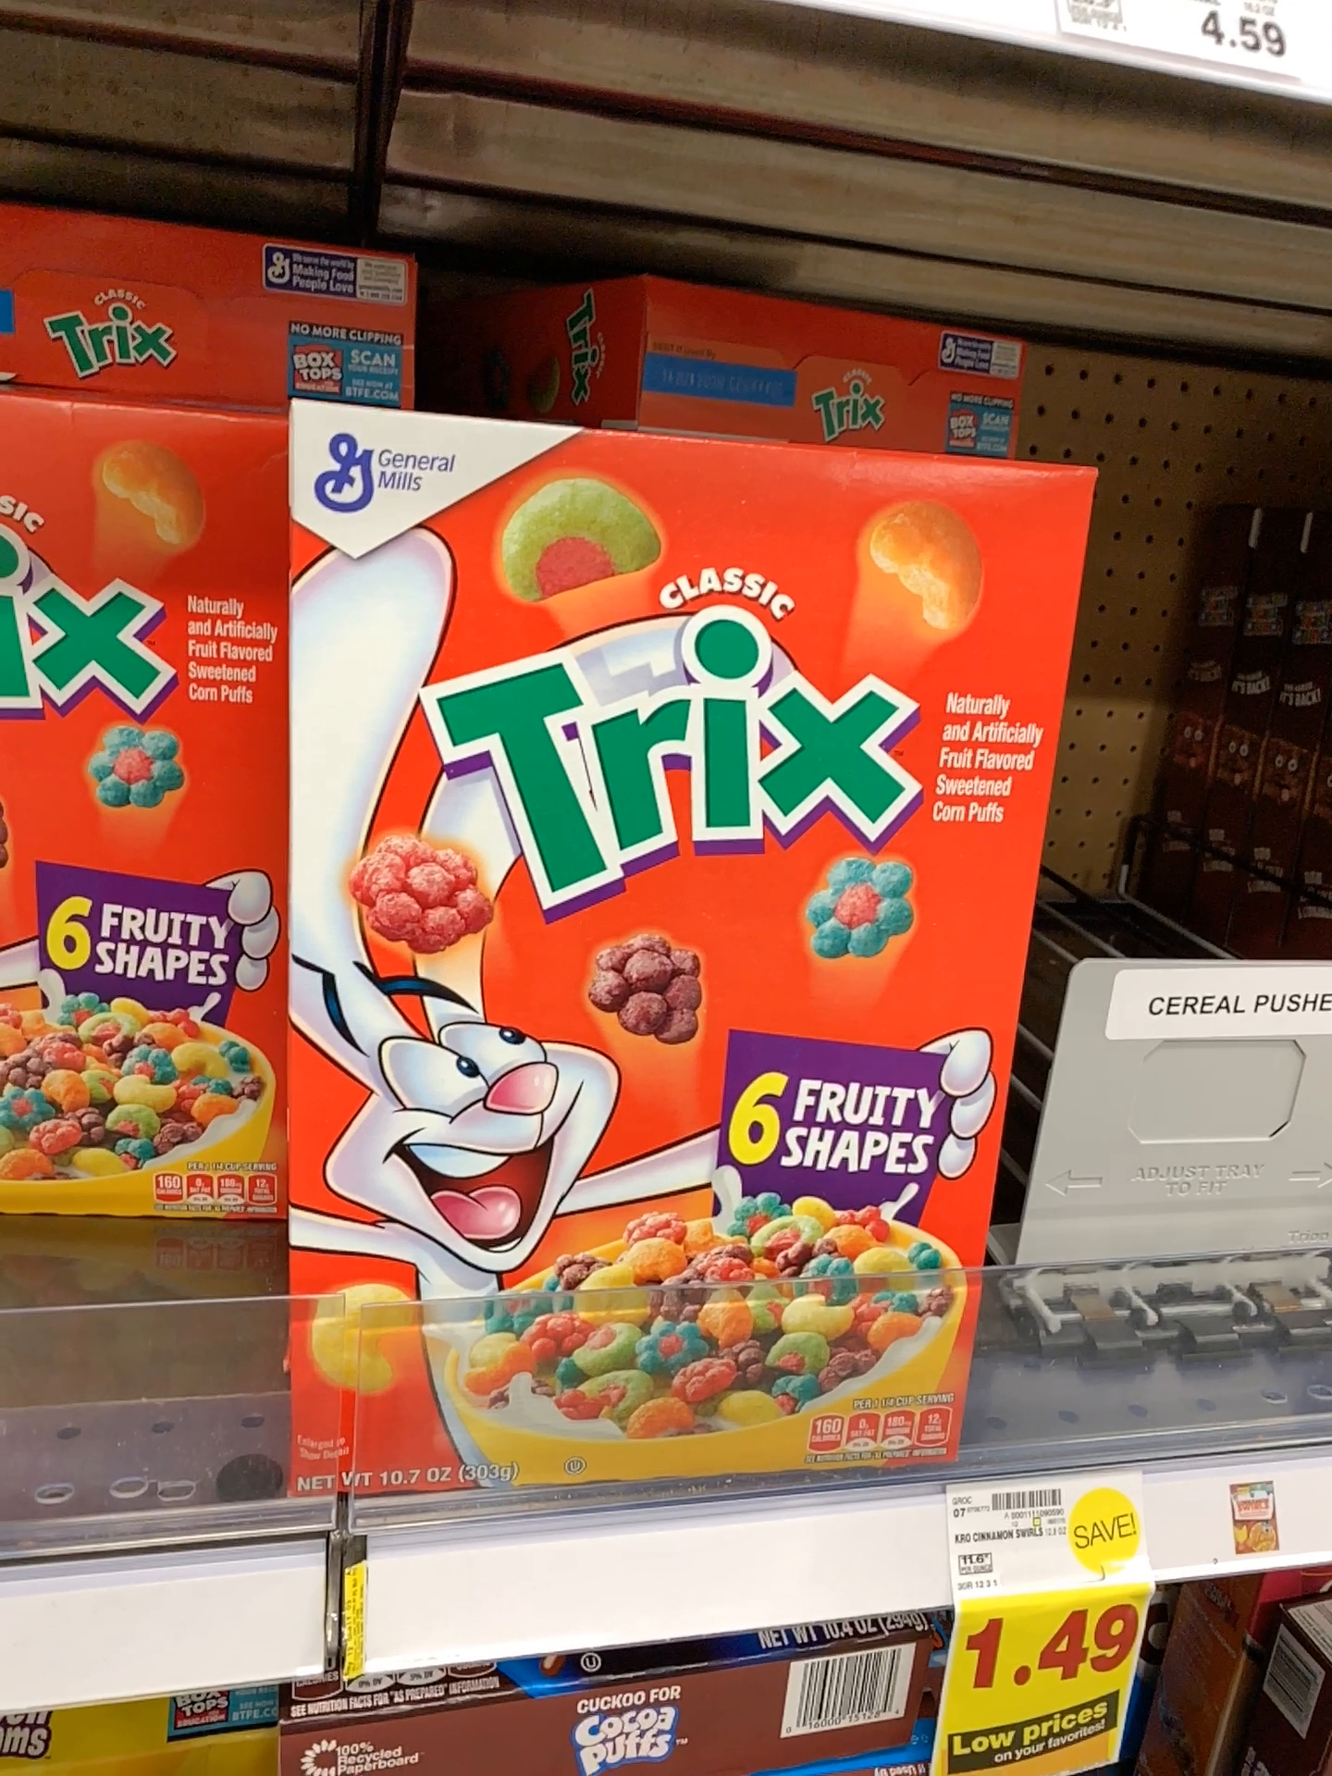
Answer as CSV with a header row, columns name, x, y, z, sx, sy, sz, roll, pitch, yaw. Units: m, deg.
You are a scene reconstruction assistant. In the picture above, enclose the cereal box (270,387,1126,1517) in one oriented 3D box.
name,x,y,z,sx,sy,sz,roll,pitch,yaw
cereal box,-0.003,0.025,0.383,0.200,0.289,0.060,2,16,-13
